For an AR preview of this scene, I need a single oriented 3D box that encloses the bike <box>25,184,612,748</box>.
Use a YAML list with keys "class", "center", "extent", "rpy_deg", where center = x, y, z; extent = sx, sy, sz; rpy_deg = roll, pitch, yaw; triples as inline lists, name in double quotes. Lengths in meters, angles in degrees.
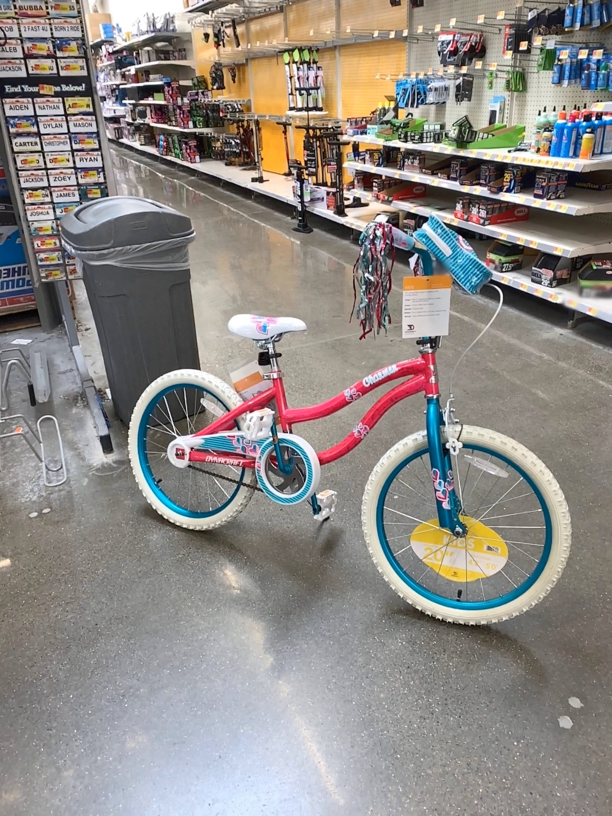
- class: "bike"
  center: [0.037, 0.011, 1.678]
  extent: [1.260, 0.929, 0.656]
  rpy_deg: [14, 30, 23]
